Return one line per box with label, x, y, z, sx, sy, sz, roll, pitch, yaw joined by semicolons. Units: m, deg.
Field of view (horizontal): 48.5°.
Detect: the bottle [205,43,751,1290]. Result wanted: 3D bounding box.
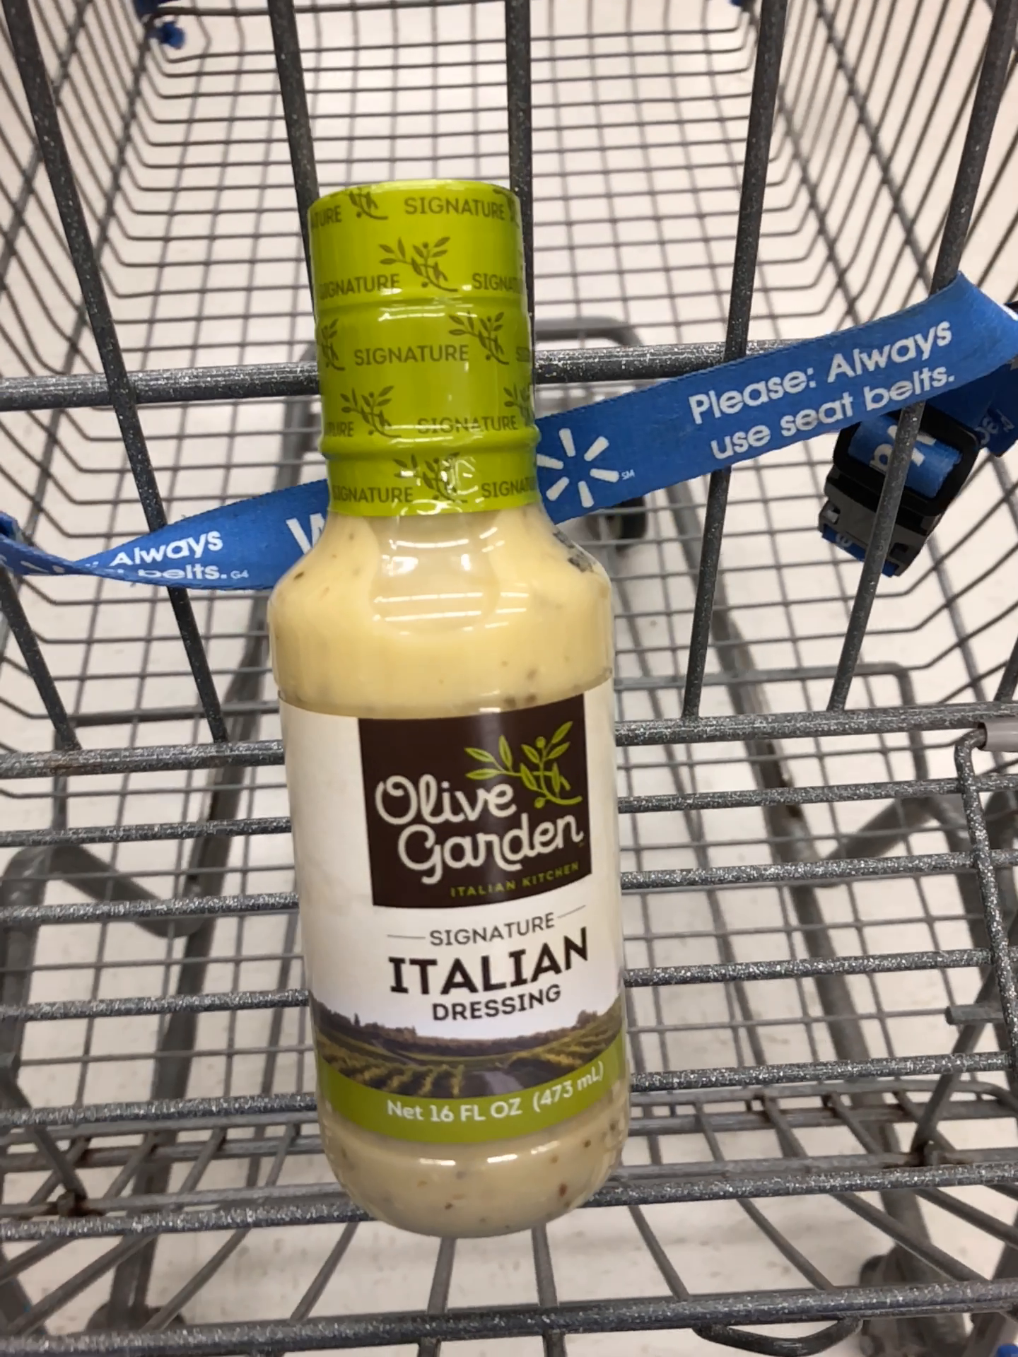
bottle;-0.010;-0.003;0.234;0.080;0.070;0.210;-6;95;-16
